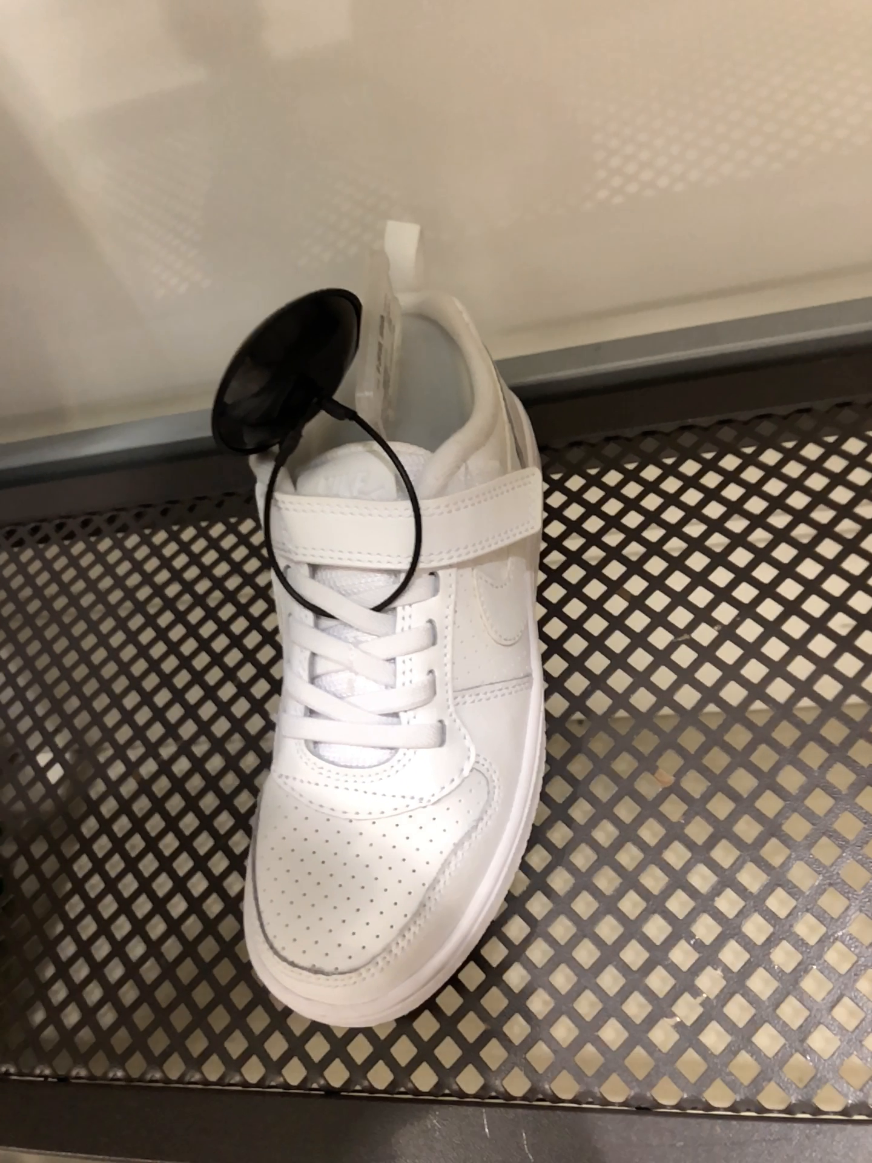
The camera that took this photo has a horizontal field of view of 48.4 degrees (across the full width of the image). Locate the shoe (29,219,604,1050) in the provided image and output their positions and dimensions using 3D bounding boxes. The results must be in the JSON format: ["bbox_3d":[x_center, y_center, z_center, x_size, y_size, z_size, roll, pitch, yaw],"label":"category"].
[{"bbox_3d":[-0.012,0.009,0.275,0.080,0.099,0.201,1,58,21],"label":"shoe"}]
